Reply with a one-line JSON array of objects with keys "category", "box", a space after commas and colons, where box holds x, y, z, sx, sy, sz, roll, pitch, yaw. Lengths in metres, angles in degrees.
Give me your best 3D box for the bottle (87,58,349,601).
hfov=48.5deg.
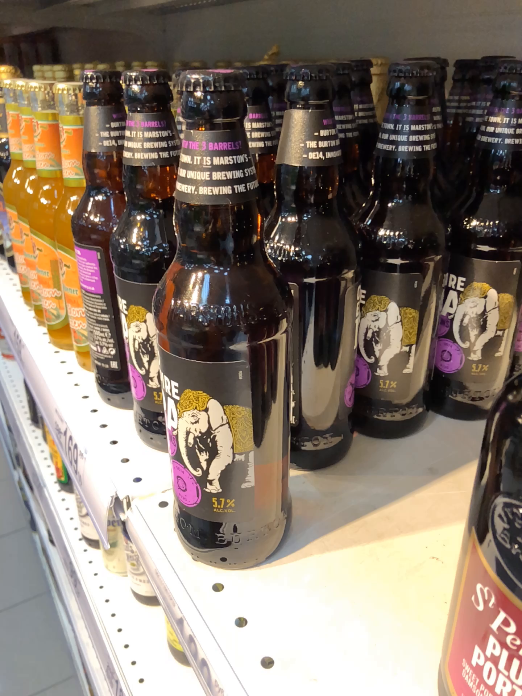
[{"category": "bottle", "box": [-0.019, -0.007, 0.282, 0.080, 0.239, 0.080, -1, 26, 0]}]
